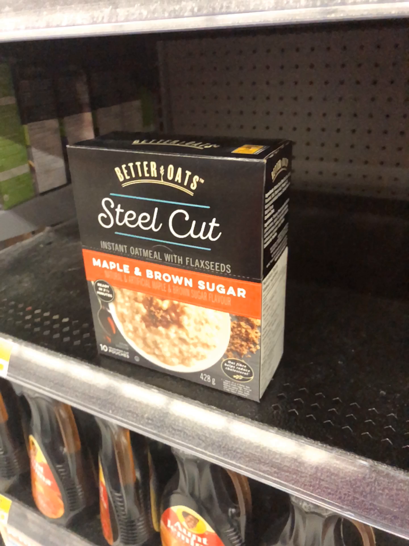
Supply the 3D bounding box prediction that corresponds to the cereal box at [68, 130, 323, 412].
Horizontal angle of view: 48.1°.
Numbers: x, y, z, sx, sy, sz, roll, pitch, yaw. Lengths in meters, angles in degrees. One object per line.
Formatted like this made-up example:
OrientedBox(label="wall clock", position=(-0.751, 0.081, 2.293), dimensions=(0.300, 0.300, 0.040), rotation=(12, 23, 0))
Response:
OrientedBox(label="cereal box", position=(-0.004, -0.008, 0.352), dimensions=(0.160, 0.179, 0.070), rotation=(10, 29, 24))
